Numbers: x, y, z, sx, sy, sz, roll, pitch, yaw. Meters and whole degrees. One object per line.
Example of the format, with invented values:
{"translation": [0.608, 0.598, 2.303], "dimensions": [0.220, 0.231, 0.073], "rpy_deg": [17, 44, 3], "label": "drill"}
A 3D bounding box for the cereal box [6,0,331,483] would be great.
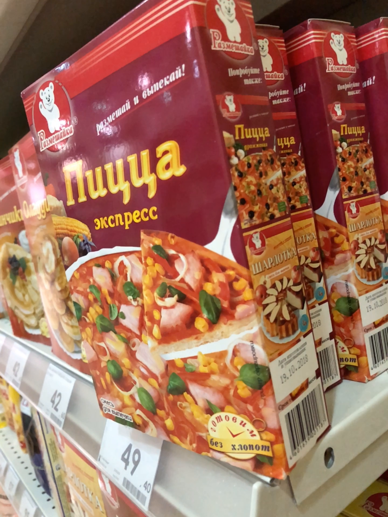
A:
{"translation": [-0.022, -0.011, 0.211], "dimensions": [0.140, 0.190, 0.040], "rpy_deg": [-5, 8, 45], "label": "cereal box"}
